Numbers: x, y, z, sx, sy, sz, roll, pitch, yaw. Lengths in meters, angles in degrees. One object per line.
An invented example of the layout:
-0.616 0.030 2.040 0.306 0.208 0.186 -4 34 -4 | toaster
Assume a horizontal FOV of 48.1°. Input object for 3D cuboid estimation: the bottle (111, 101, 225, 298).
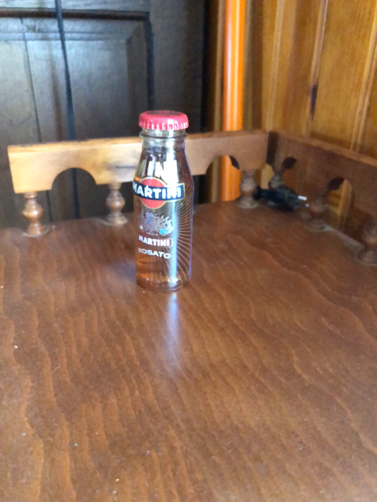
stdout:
-0.011 -0.034 0.271 0.050 0.109 0.050 1 27 0 | bottle
